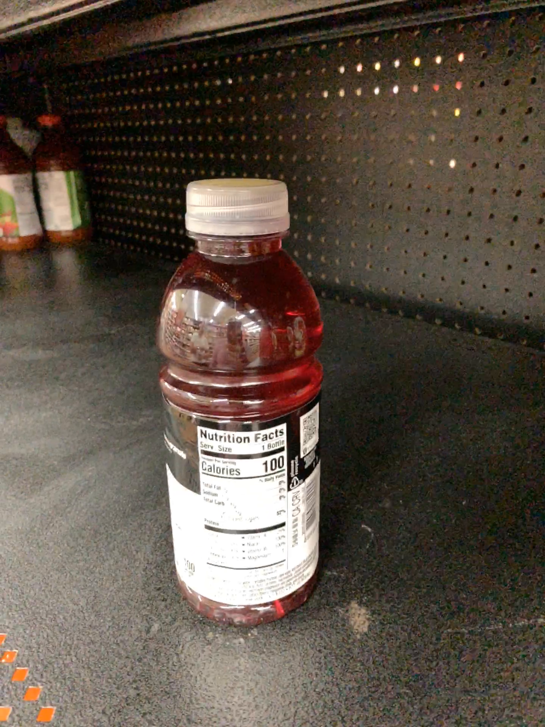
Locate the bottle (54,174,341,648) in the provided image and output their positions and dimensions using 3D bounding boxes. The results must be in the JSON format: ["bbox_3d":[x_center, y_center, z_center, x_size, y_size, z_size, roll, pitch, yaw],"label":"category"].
[{"bbox_3d":[-0.019,0.016,0.247,0.080,0.179,0.080,-2,23,1],"label":"bottle"}]
